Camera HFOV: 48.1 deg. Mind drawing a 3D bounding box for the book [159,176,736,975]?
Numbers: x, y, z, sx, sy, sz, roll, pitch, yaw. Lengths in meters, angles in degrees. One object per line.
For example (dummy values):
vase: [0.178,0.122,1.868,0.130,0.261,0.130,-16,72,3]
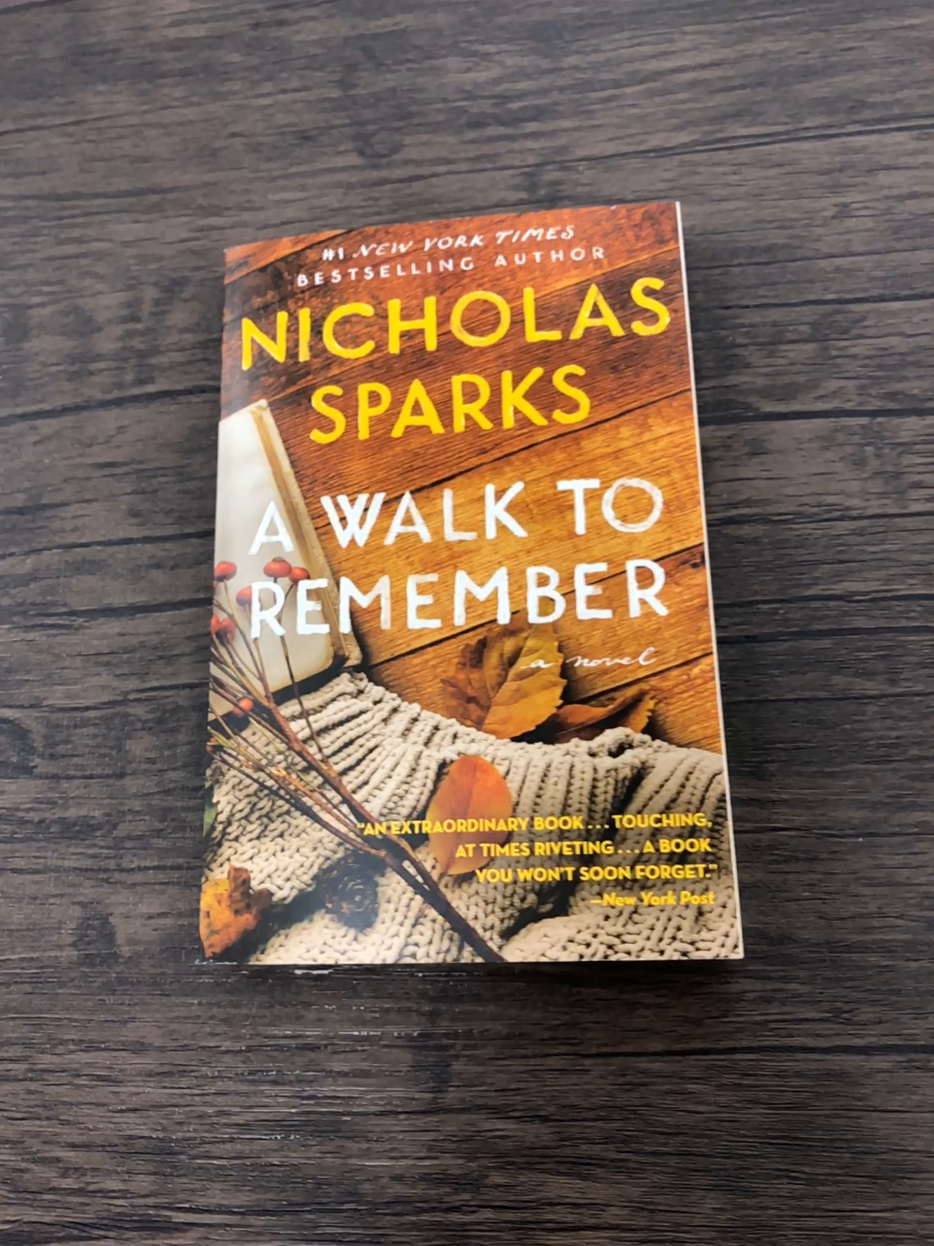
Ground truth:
book: [-0.008,-0.016,0.271,0.132,0.020,0.200,-3,76,7]
